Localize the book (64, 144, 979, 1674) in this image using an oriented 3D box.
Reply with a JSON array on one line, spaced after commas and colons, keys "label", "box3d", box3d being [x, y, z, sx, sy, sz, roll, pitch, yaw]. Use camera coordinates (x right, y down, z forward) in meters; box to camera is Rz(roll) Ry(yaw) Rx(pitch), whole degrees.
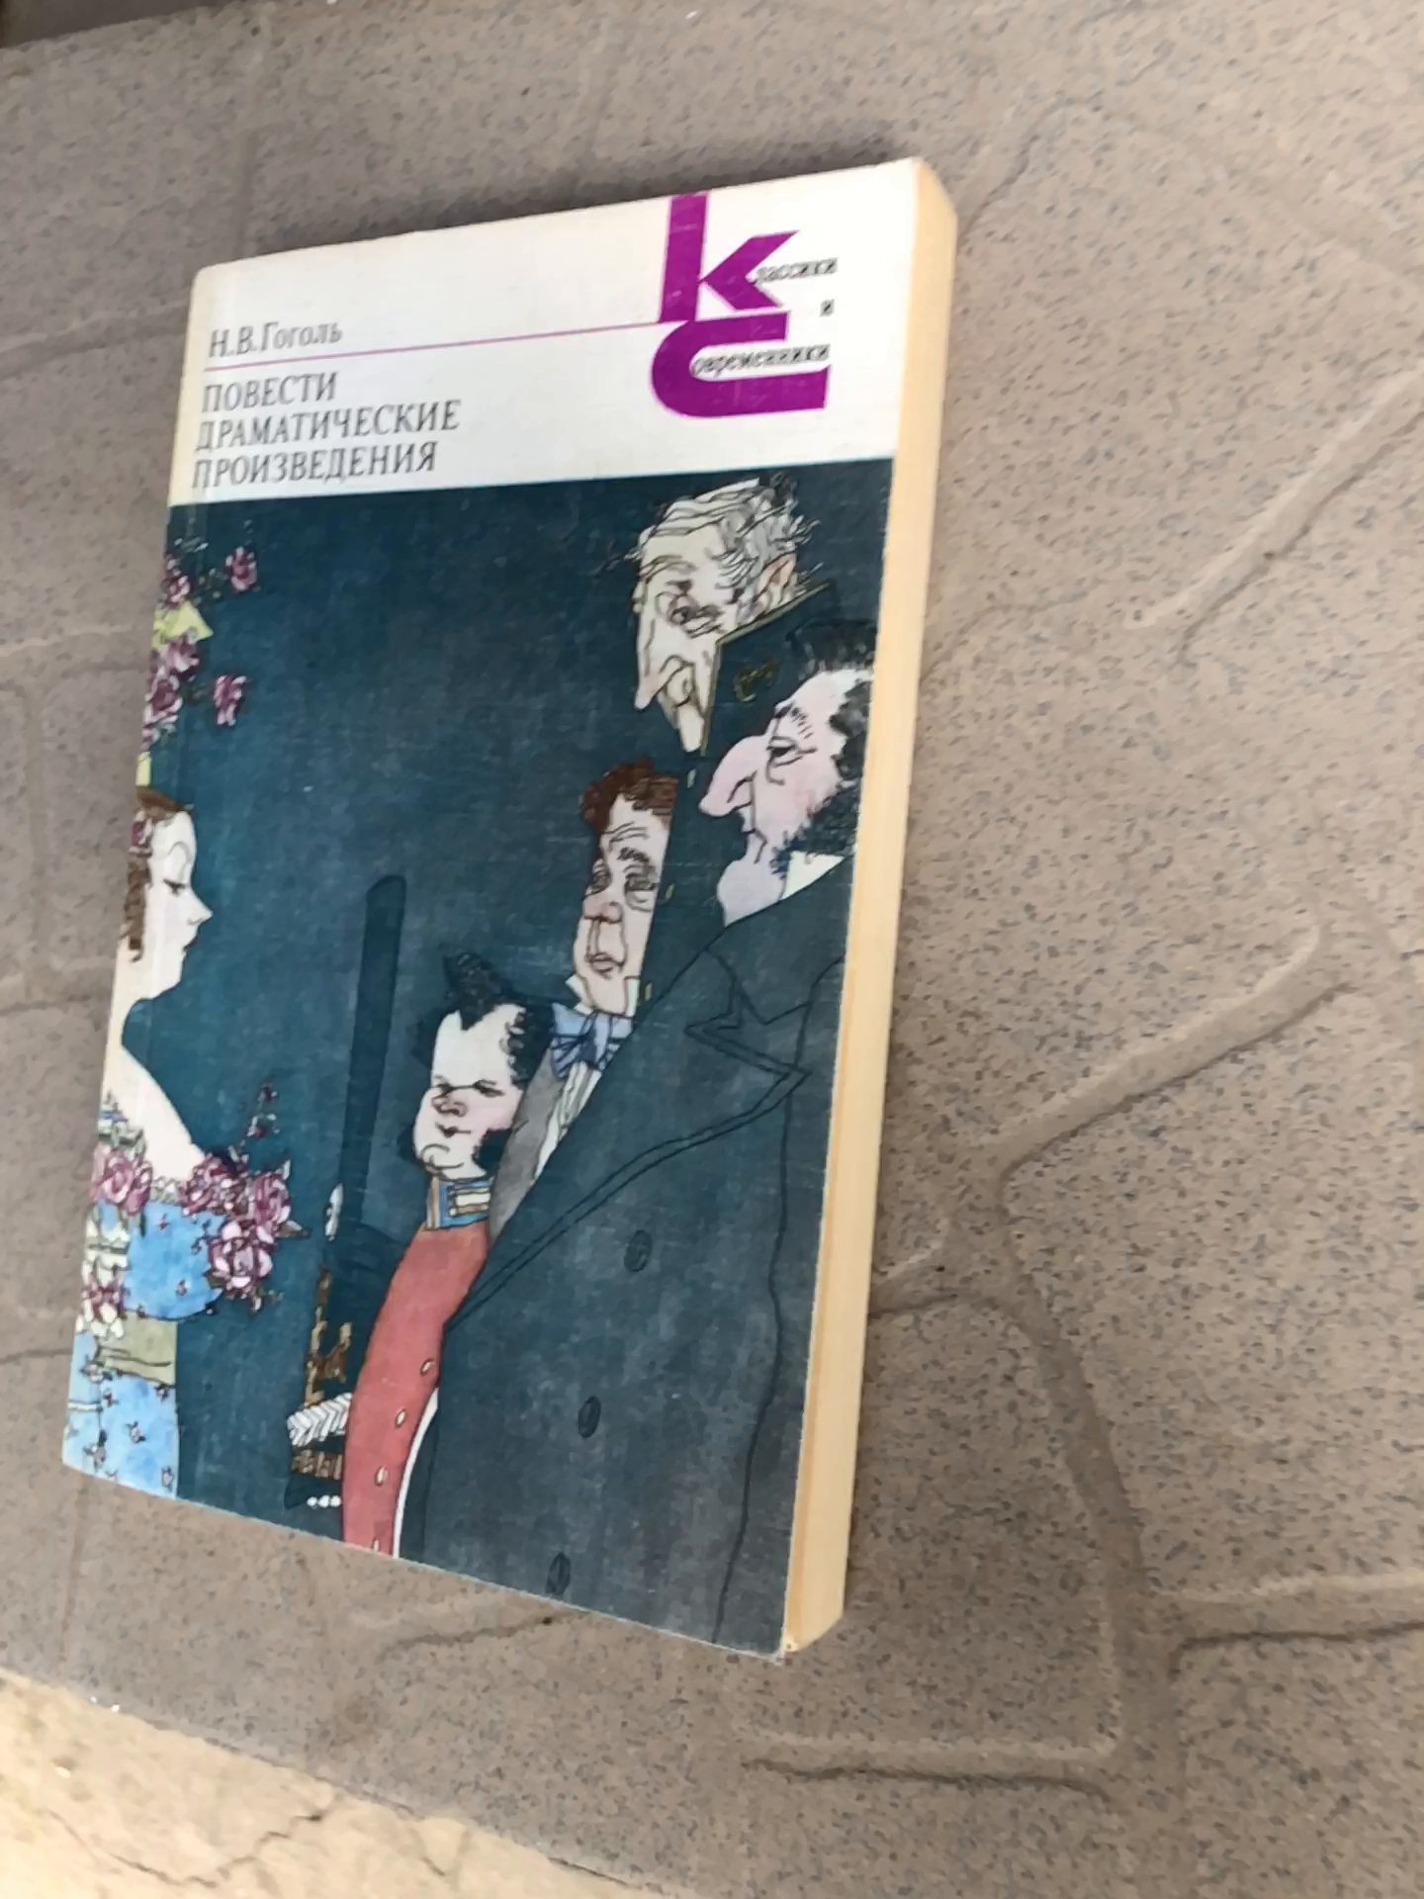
[{"label": "book", "box3d": [-0.032, -0.010, 0.236, 0.124, 0.021, 0.193, 4, 88, 25]}]
